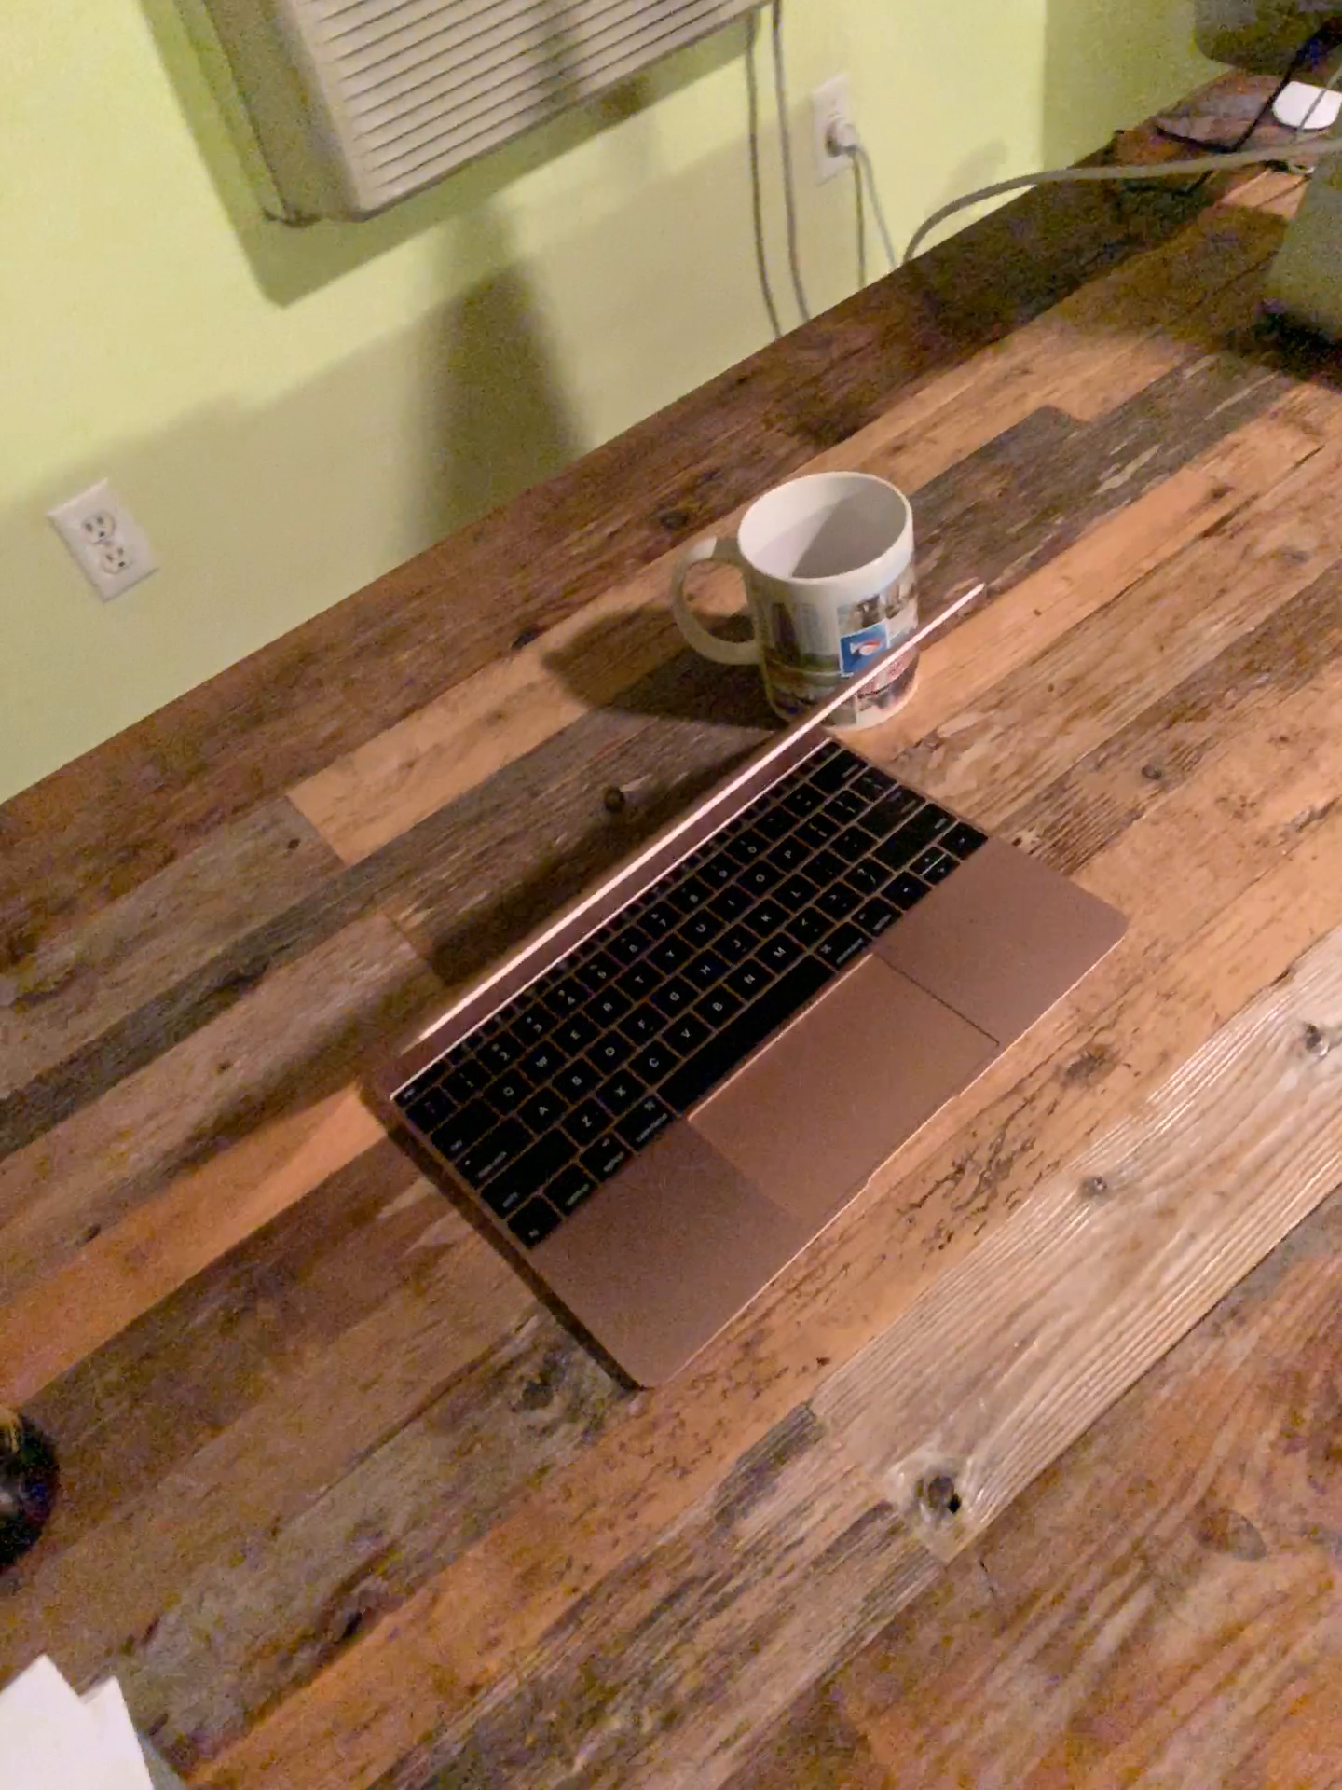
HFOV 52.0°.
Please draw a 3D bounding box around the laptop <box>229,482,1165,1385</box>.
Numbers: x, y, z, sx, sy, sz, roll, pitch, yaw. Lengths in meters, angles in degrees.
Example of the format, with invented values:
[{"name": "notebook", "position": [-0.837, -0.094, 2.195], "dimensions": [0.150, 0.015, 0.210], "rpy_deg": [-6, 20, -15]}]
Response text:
[{"name": "laptop", "position": [0.019, 0.002, 0.548], "dimensions": [0.278, 0.145, 0.194], "rpy_deg": [-39, 54, -18]}]
